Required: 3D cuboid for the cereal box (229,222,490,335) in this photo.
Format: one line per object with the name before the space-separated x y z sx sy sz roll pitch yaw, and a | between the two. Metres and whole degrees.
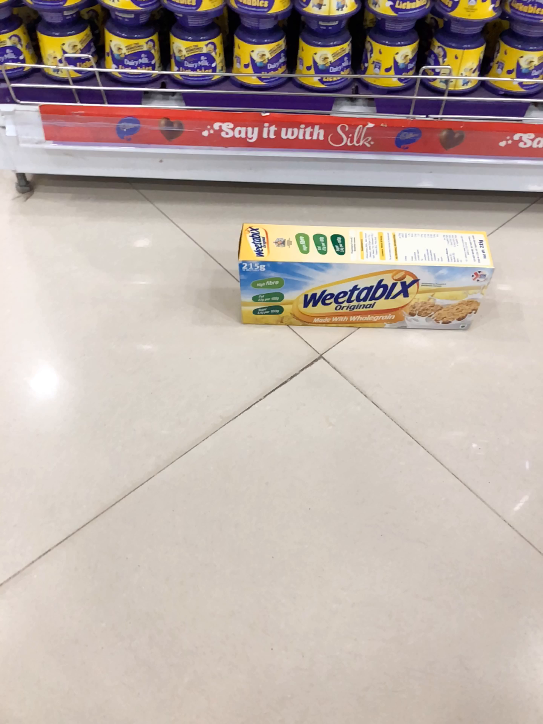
cereal box | 0.085 -0.086 0.632 0.250 0.099 0.060 2 54 1
